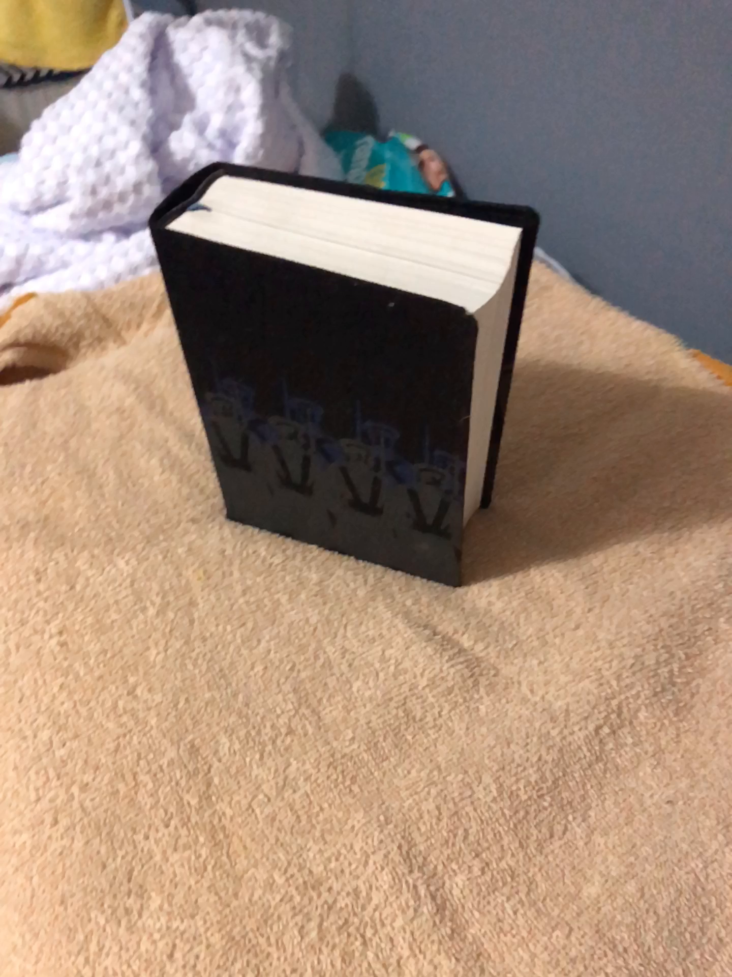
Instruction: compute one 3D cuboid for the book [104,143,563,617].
[{"bbox_3d":[-0.009,-0.039,0.354,0.150,0.179,0.060,15,51,15],"label":"book"}]
